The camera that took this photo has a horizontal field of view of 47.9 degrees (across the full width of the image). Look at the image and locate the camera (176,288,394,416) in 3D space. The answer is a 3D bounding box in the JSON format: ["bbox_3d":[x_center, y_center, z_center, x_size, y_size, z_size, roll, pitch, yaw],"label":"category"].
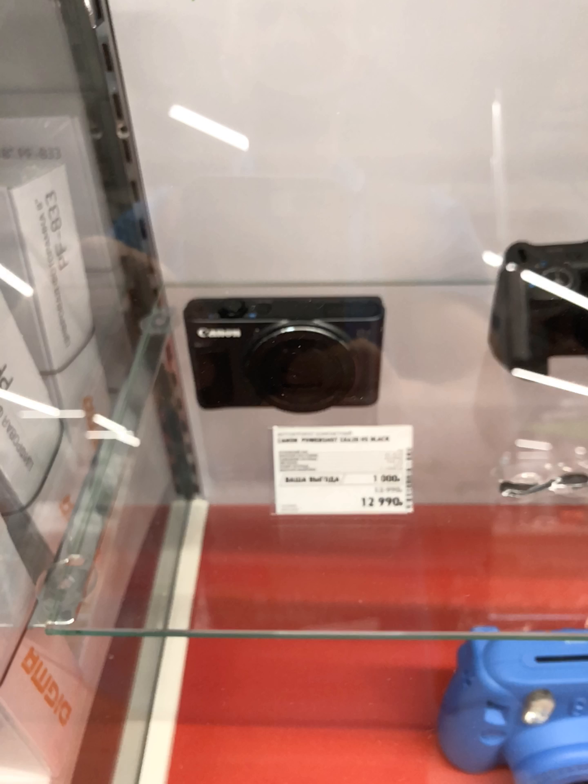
[{"bbox_3d":[-0.003,-0.019,0.326,0.098,0.055,0.030,0,41,3],"label":"camera"}]
